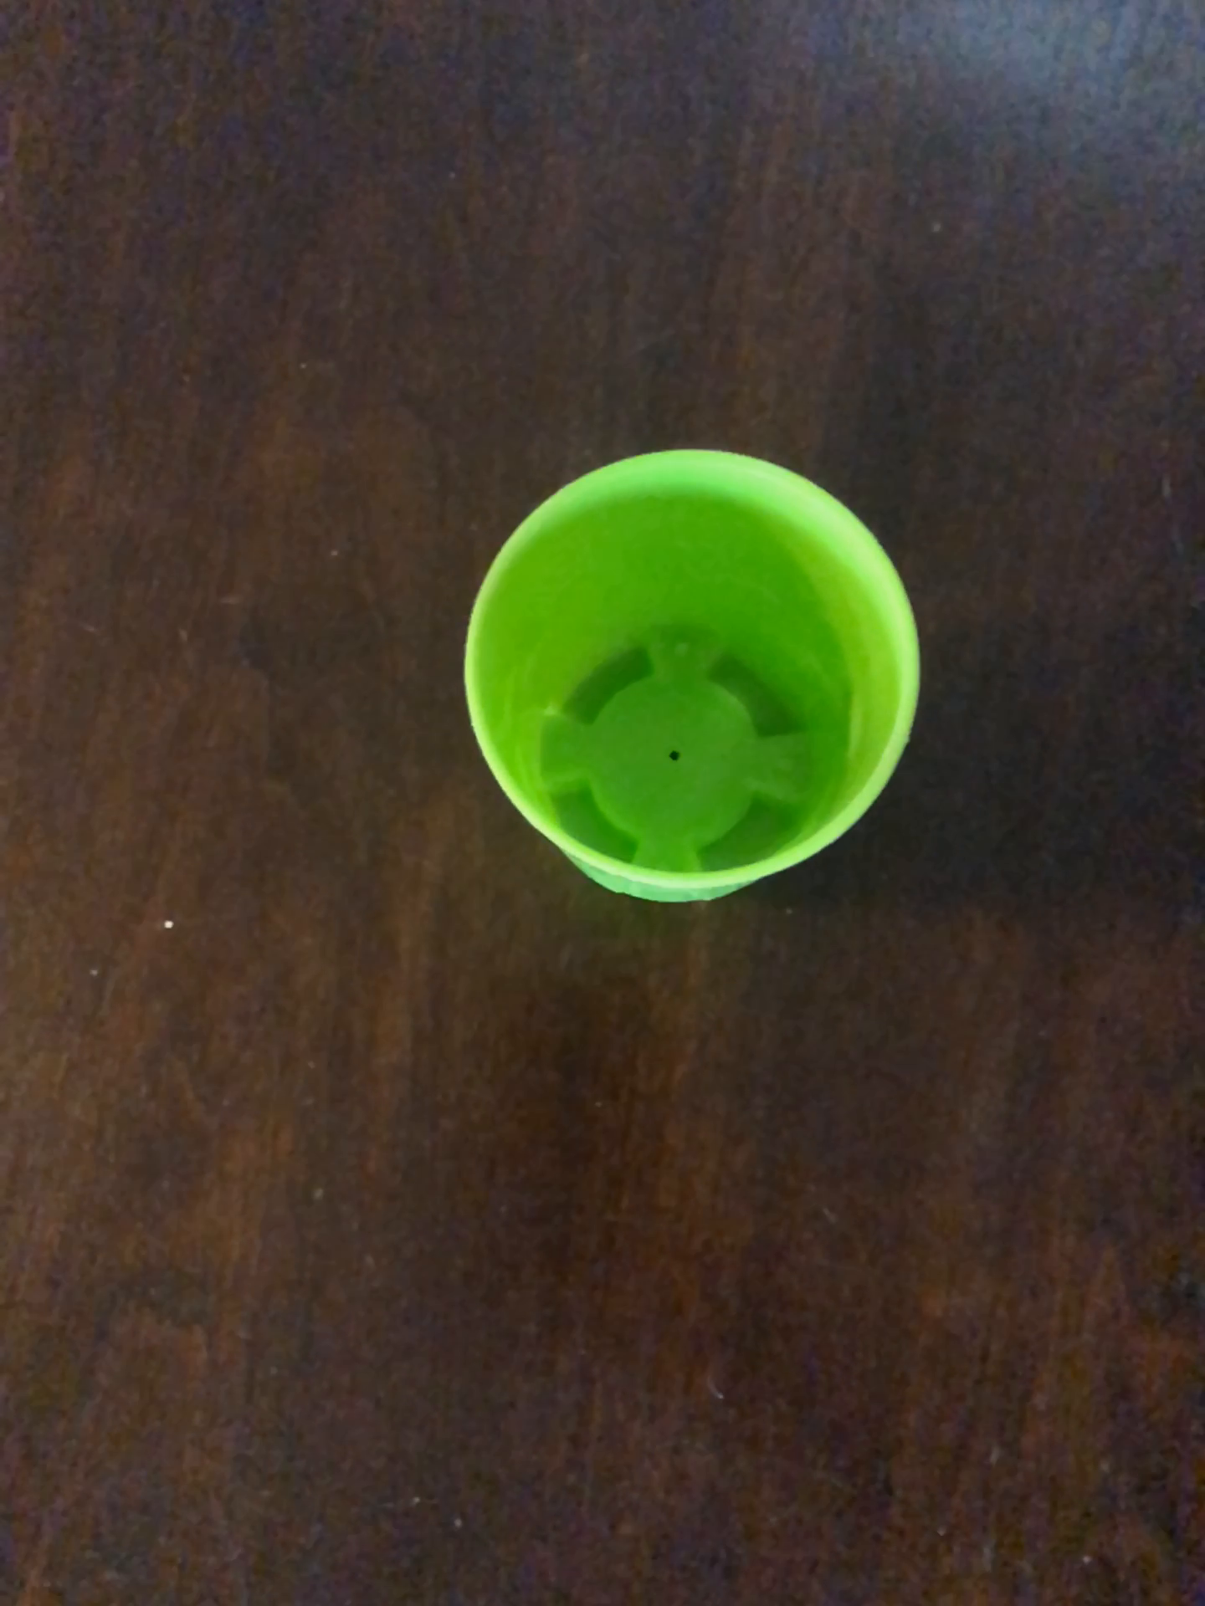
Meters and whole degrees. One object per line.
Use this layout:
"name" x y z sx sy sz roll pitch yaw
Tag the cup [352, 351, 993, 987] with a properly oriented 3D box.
"cup" 0.011 -0.015 0.237 0.070 0.090 0.070 0 81 1
